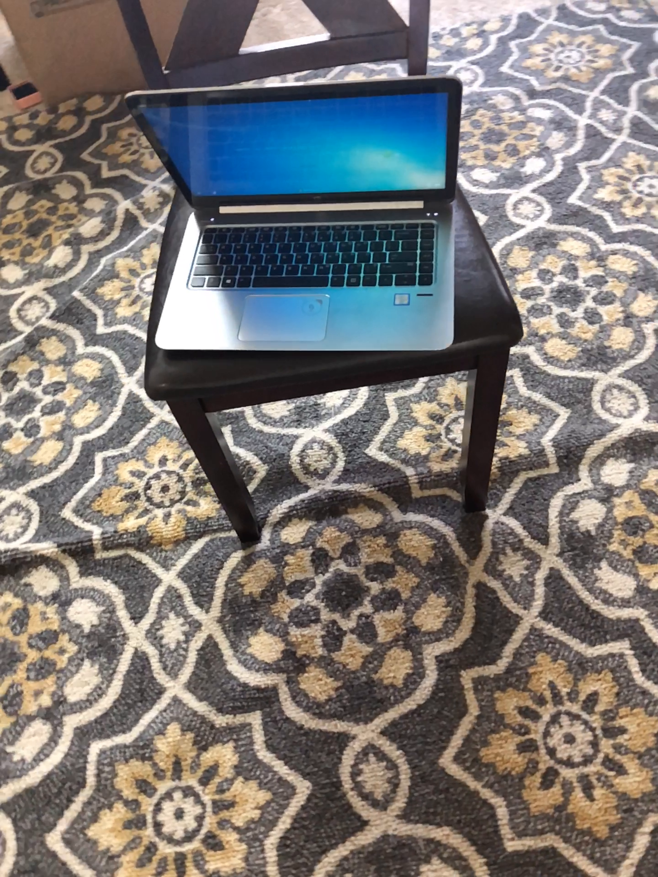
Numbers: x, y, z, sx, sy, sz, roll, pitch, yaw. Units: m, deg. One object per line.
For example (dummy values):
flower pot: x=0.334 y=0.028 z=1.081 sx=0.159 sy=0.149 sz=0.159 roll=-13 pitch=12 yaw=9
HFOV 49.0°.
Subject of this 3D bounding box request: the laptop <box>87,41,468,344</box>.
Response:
laptop: x=-0.030 y=-0.244 z=0.742 sx=0.323 sy=0.194 sz=0.212 roll=2 pitch=58 yaw=7
